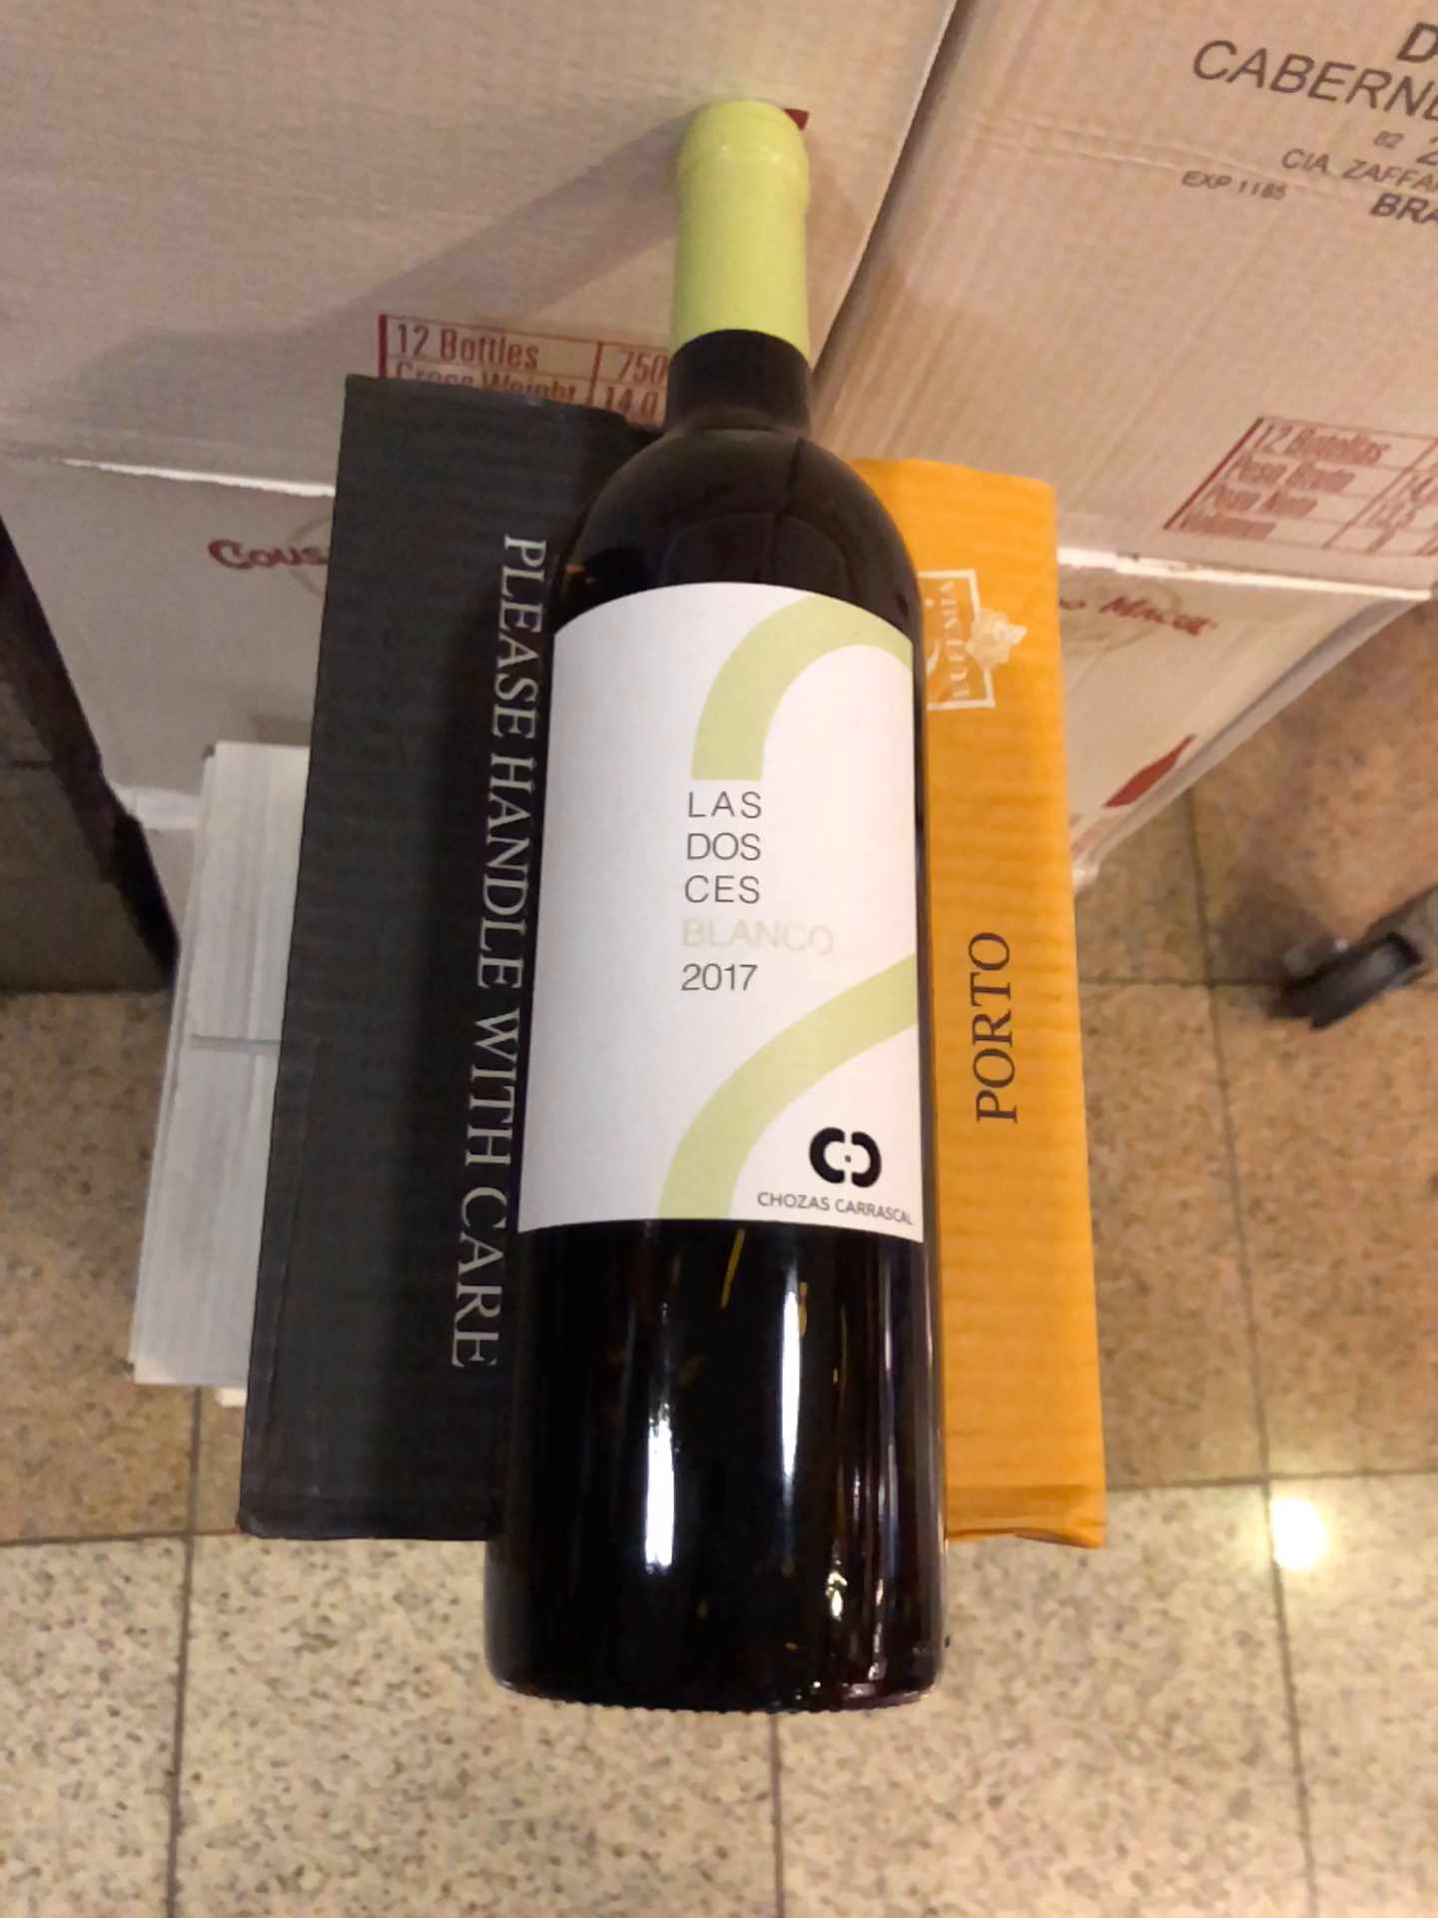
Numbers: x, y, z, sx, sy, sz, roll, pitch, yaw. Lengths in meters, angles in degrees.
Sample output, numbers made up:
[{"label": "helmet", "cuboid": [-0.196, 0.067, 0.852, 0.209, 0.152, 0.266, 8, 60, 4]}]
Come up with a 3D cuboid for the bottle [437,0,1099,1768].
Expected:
[{"label": "bottle", "cuboid": [0.007, -0.038, 0.291, 0.090, 0.070, 0.320, 4, 75, -11]}]
